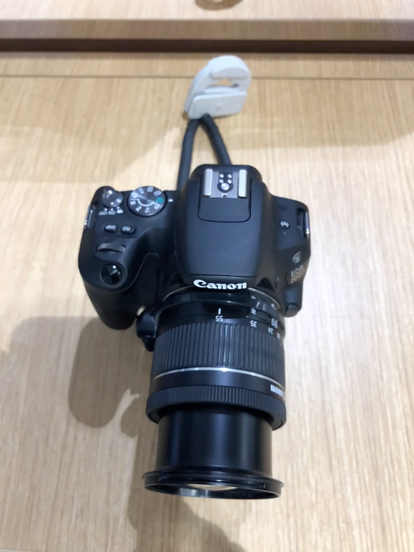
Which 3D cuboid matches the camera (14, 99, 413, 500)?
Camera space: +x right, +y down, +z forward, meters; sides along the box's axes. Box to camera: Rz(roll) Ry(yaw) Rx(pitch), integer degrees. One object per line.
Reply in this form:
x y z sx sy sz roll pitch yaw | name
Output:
0.006 0.012 0.223 0.120 0.100 0.161 2 60 2 | camera
